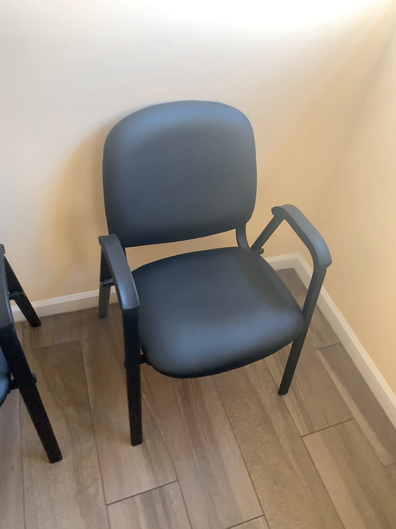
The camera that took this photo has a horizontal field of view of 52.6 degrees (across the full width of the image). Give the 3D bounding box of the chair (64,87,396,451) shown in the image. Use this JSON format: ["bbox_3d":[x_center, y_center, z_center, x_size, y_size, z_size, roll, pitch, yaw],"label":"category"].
[{"bbox_3d":[0.016,0.027,1.227,0.635,0.847,0.591,-12,50,-19],"label":"chair"}]
